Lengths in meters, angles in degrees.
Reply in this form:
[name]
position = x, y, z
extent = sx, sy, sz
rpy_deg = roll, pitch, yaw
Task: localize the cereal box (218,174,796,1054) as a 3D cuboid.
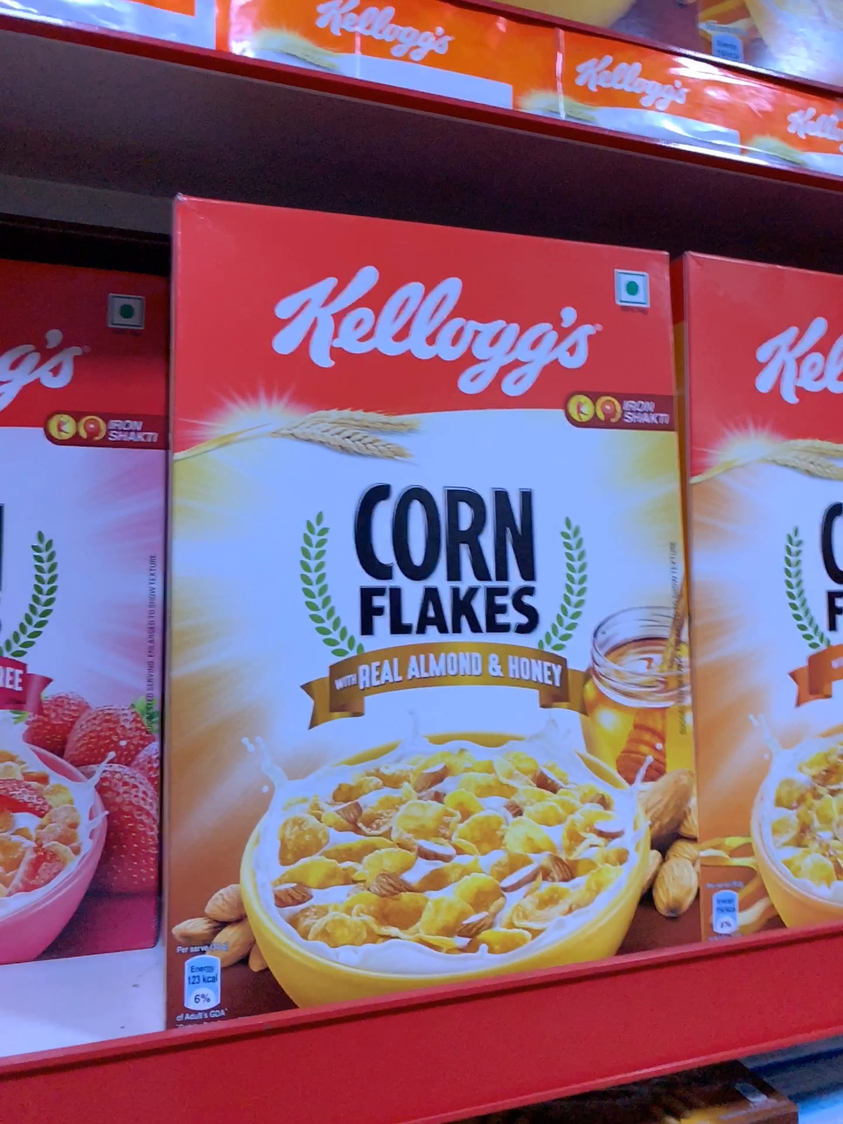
[cereal box]
position = 0.024, 0.011, 0.282
extent = 0.170, 0.230, 0.060
rpy_deg = 0, -3, -16
